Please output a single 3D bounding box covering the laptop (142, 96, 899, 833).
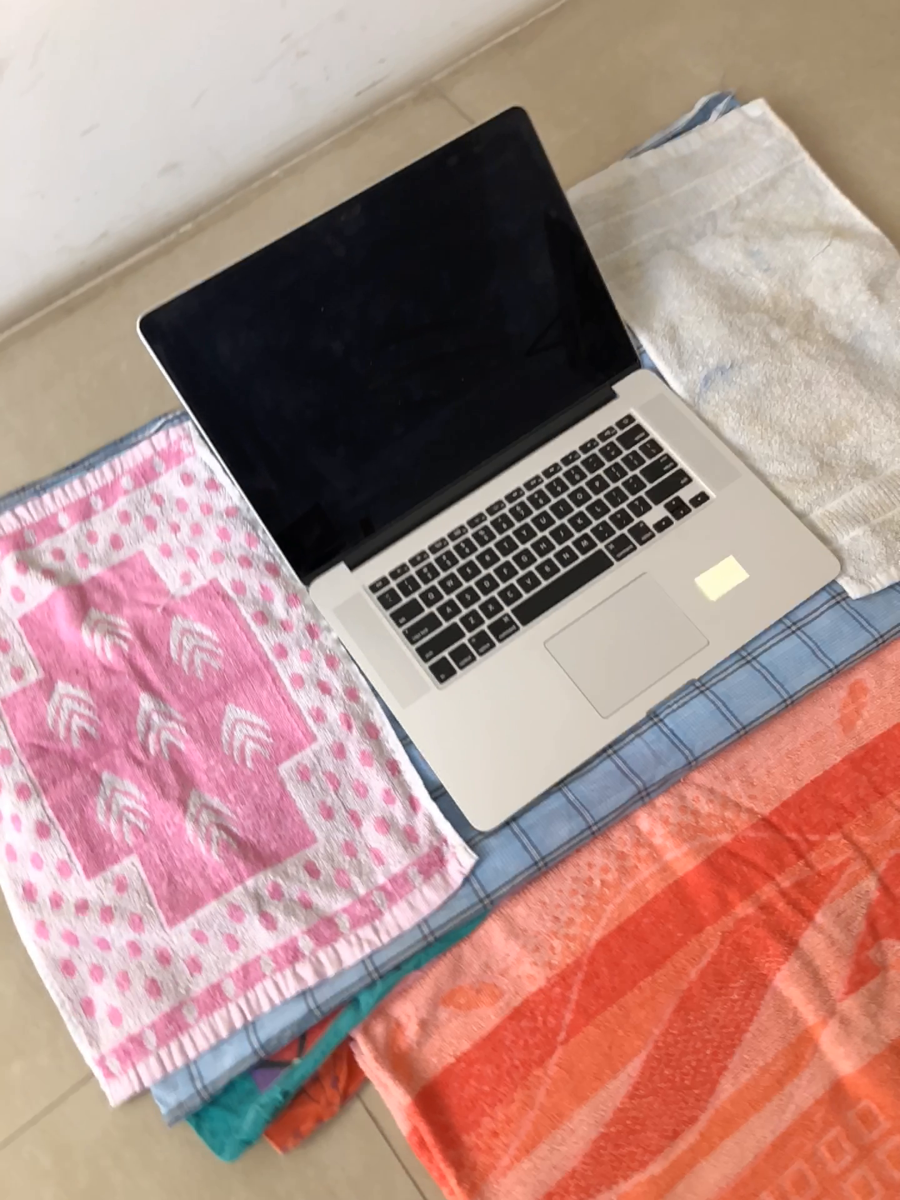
[{"bbox_3d":[0.039,-0.112,0.734,0.343,0.144,0.413,-34,70,-9],"label":"laptop"}]
